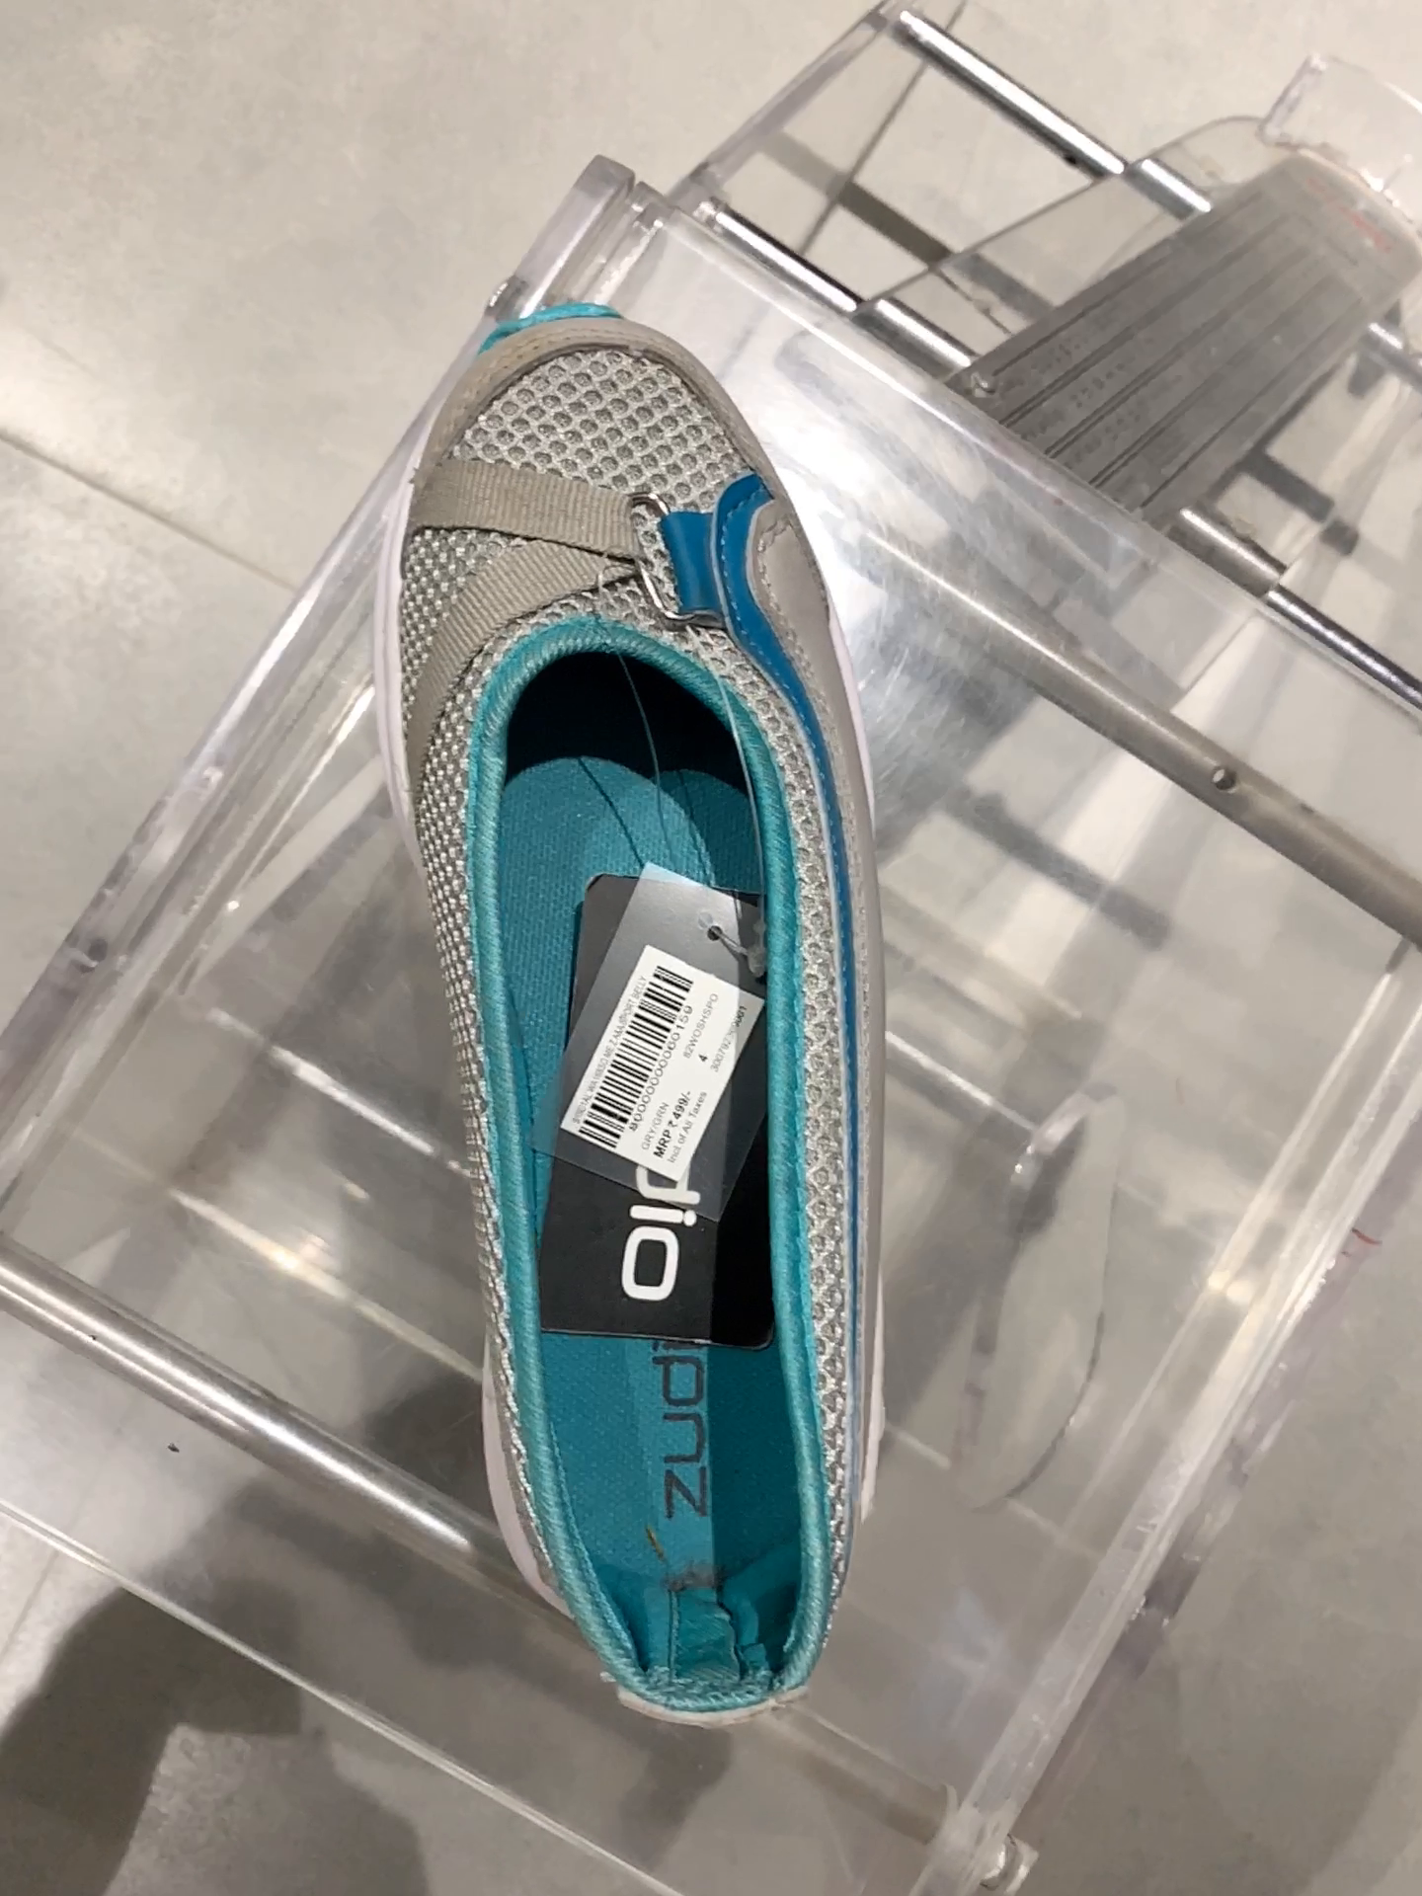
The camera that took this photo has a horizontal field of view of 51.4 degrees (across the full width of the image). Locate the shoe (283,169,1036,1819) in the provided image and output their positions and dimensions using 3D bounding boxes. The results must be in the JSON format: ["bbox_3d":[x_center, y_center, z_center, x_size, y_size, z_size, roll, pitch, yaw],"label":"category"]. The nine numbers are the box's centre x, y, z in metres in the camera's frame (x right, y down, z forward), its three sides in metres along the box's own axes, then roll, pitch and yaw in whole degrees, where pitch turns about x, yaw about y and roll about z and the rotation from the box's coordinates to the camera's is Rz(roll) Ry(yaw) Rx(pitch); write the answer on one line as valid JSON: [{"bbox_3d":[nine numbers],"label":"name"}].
[{"bbox_3d":[-0.013,0.005,0.291,0.090,0.080,0.270,-8,90,-8],"label":"shoe"}]
